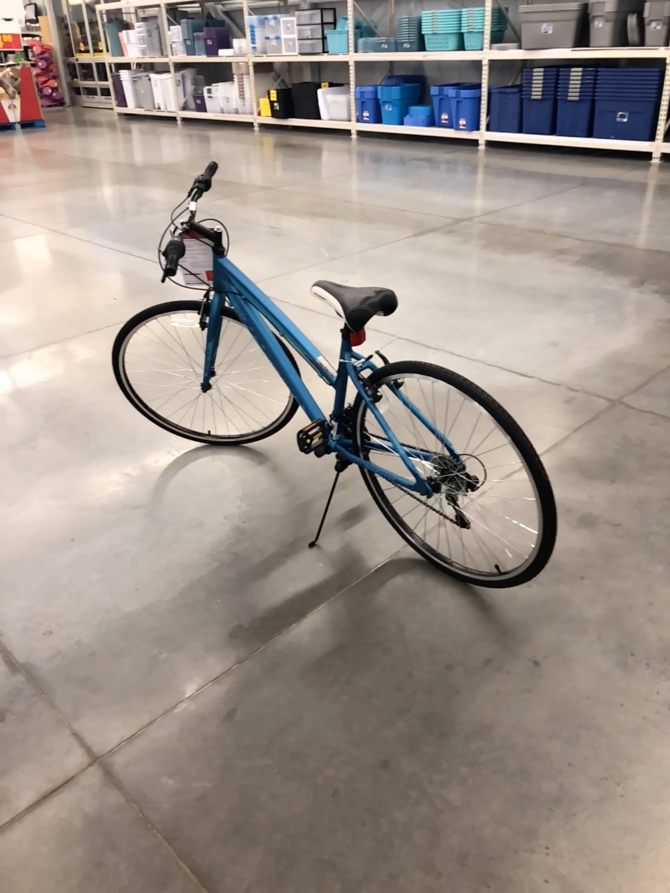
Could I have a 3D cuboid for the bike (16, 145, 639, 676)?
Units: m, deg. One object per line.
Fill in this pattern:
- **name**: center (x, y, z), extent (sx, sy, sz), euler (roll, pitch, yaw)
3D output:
- **bike**: center (-0.107, -0.254, 2.106), extent (1.610, 0.978, 0.579), euler (20, 36, 34)
